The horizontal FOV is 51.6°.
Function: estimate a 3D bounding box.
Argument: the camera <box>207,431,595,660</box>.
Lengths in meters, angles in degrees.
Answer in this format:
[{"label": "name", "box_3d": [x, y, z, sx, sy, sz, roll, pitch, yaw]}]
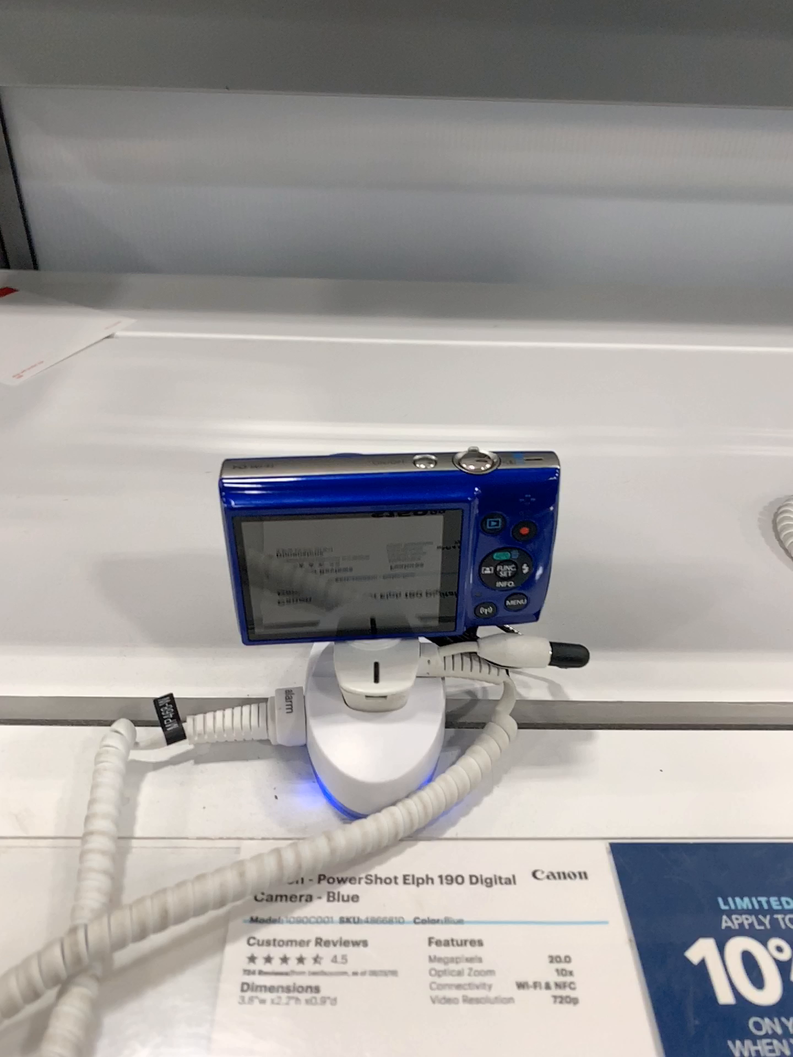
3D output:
[{"label": "camera", "box_3d": [0.000, 0.005, 0.239, 0.100, 0.060, 0.027, -2, 39, -7]}]
